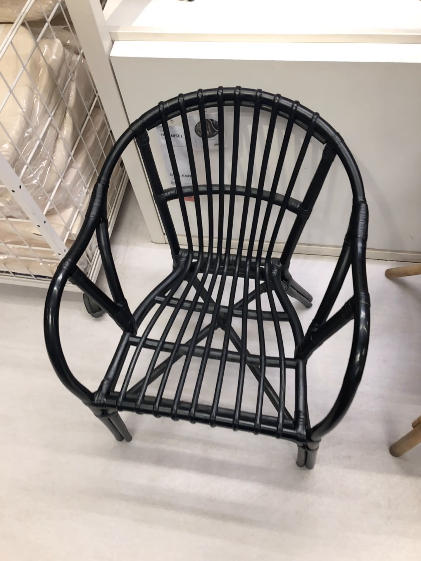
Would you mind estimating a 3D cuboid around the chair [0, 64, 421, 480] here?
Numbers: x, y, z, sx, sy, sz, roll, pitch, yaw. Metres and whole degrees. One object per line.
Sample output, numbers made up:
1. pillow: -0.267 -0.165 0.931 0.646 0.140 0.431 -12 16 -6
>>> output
1. chair: 0.003 0.065 0.924 0.550 0.757 0.472 6 63 9
